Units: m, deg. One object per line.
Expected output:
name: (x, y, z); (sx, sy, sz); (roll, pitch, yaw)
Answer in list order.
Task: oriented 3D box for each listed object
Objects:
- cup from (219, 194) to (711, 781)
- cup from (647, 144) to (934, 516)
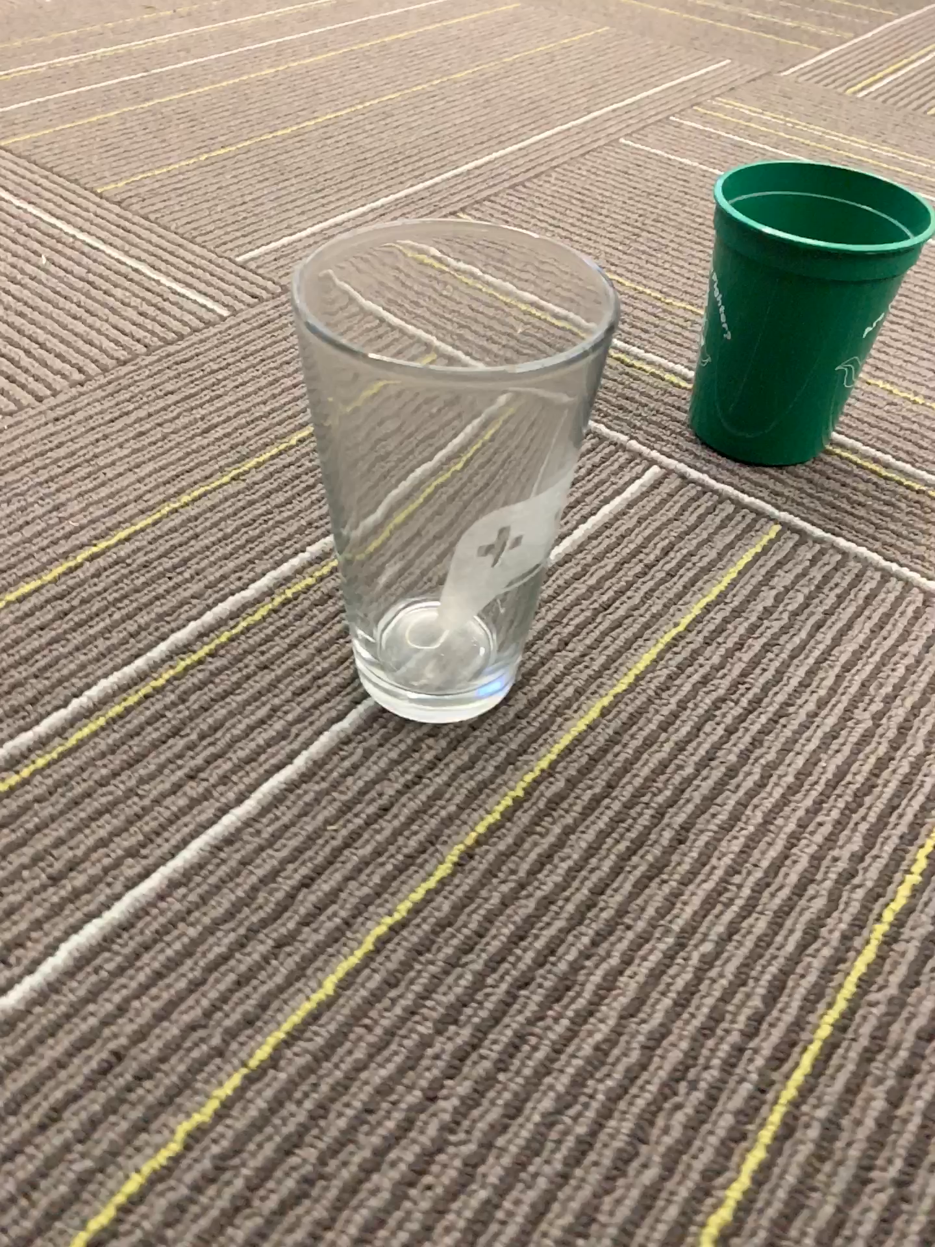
cup: (0.000, -0.040, 0.283); (0.090, 0.119, 0.090); (2, 45, -2)
cup: (0.142, -0.128, 0.422); (0.070, 0.119, 0.080); (-33, 55, -30)
